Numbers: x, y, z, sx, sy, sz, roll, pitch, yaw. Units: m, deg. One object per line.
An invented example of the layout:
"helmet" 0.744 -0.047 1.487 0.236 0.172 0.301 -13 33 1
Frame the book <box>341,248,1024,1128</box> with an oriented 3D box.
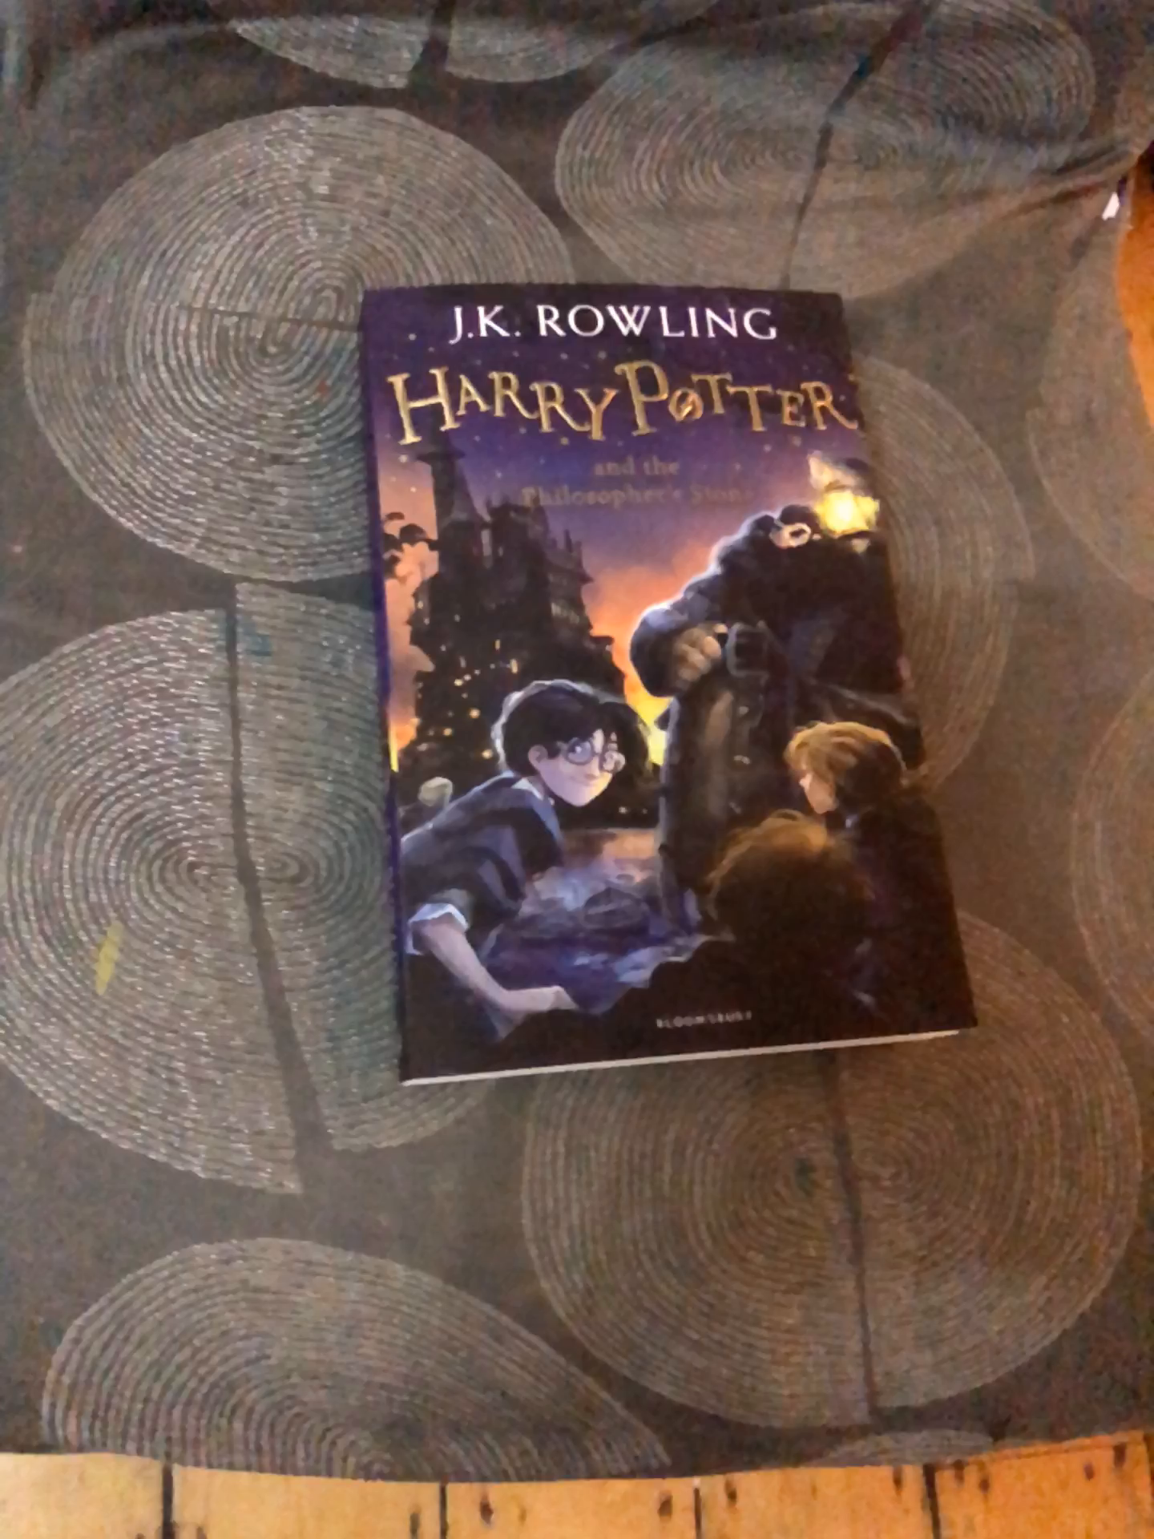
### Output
"book" 0.019 -0.026 0.325 0.140 0.040 0.210 -2 73 -16
